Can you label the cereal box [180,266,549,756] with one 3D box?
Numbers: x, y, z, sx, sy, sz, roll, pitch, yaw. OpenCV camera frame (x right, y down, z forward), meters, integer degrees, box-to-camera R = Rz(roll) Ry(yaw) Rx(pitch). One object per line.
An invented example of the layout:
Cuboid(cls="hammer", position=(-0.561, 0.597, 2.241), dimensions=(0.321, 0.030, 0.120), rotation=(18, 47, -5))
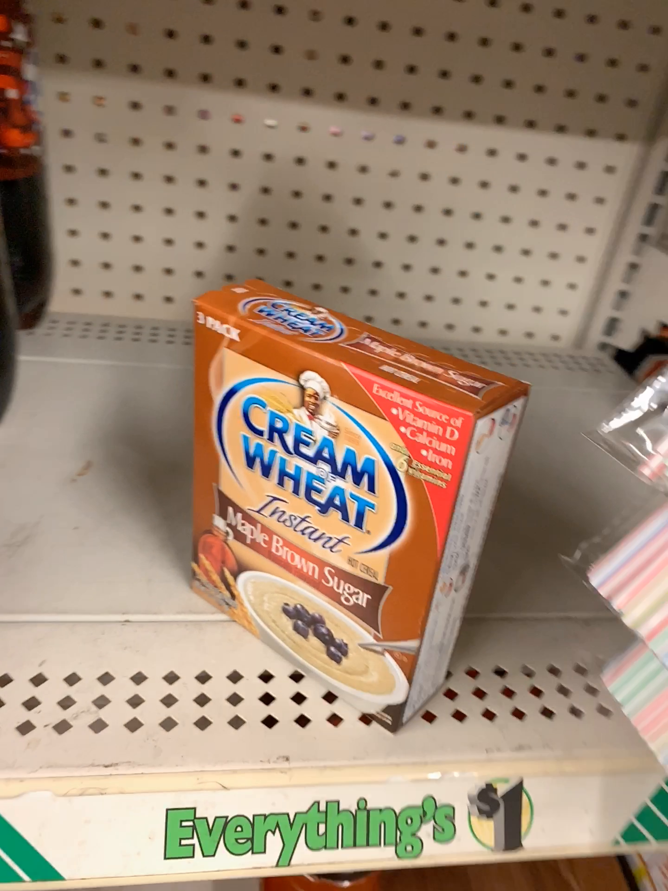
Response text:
Cuboid(cls="cereal box", position=(-0.002, 0.025, 0.270), dimensions=(0.120, 0.149, 0.040), rotation=(27, 36, 27))
